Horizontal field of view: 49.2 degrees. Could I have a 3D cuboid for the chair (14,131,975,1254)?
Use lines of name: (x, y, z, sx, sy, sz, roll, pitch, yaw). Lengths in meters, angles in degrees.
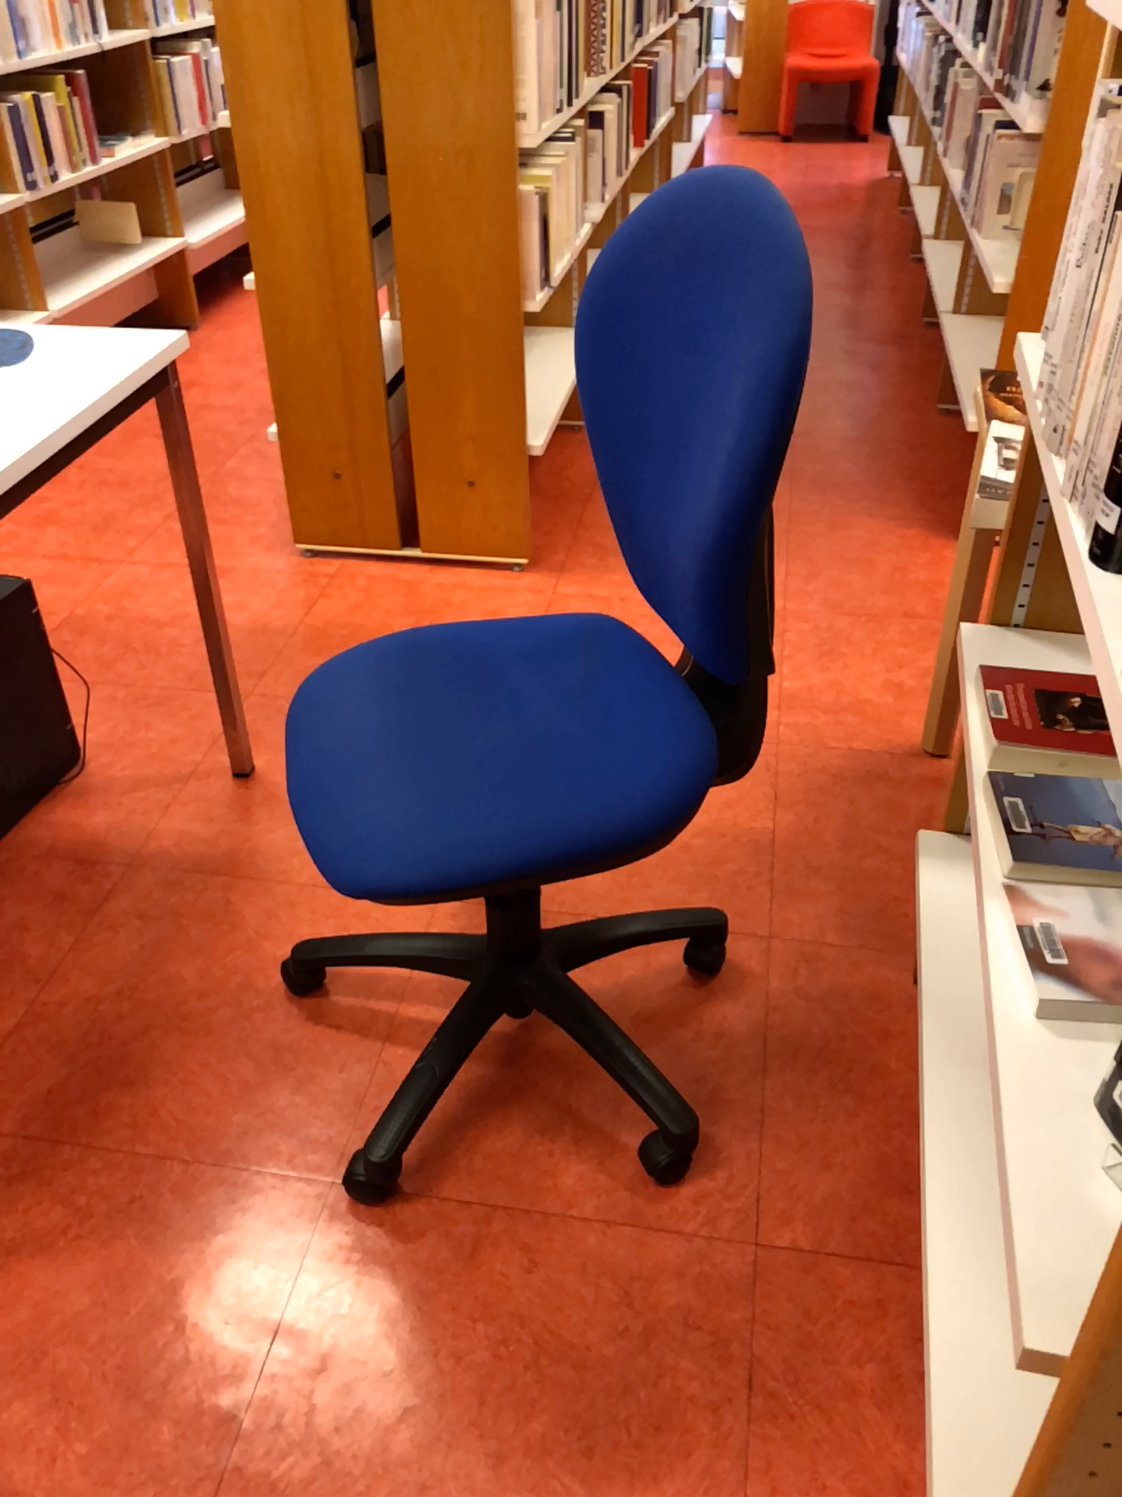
chair: (-0.086, -0.088, 1.307, 0.621, 0.914, 0.663, -7, 35, -10)
